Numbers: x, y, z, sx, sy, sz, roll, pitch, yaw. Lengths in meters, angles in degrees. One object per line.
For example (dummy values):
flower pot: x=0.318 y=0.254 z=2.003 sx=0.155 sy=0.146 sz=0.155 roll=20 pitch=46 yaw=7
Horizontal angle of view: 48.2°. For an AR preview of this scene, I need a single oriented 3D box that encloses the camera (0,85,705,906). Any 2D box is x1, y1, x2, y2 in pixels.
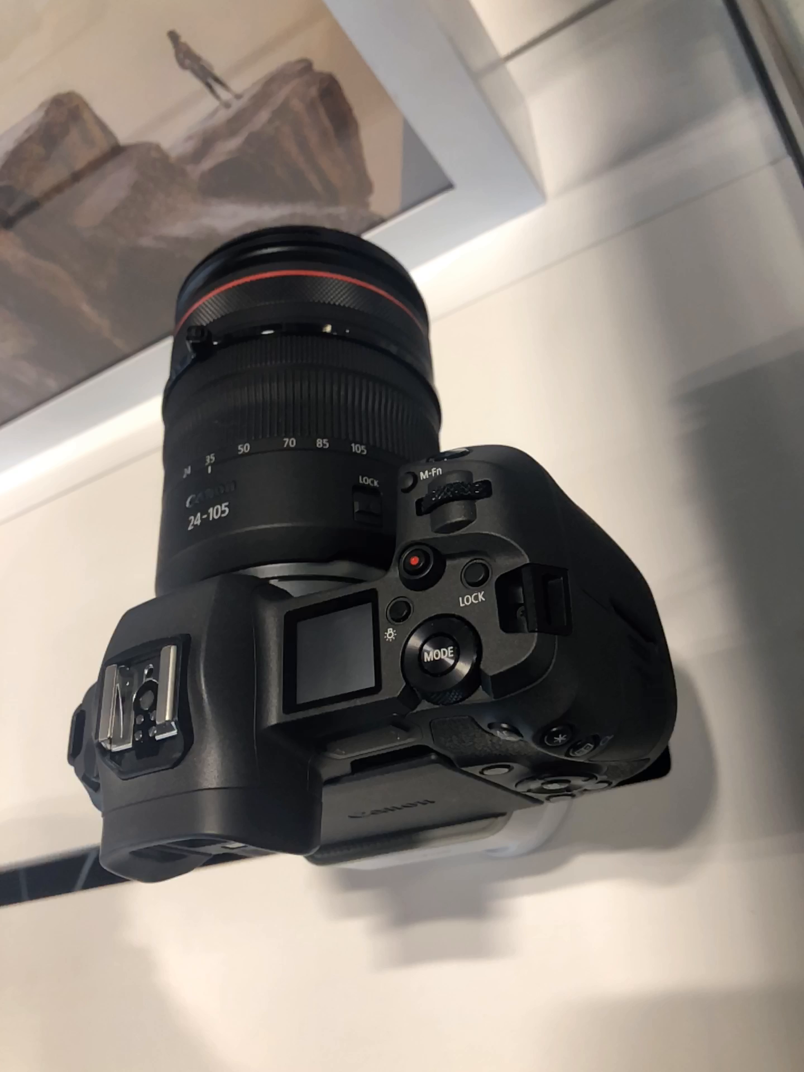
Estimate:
camera: x=-0.023 y=0.002 z=0.224 sx=0.139 sy=0.086 sz=0.145 roll=-21 pitch=57 yaw=25
